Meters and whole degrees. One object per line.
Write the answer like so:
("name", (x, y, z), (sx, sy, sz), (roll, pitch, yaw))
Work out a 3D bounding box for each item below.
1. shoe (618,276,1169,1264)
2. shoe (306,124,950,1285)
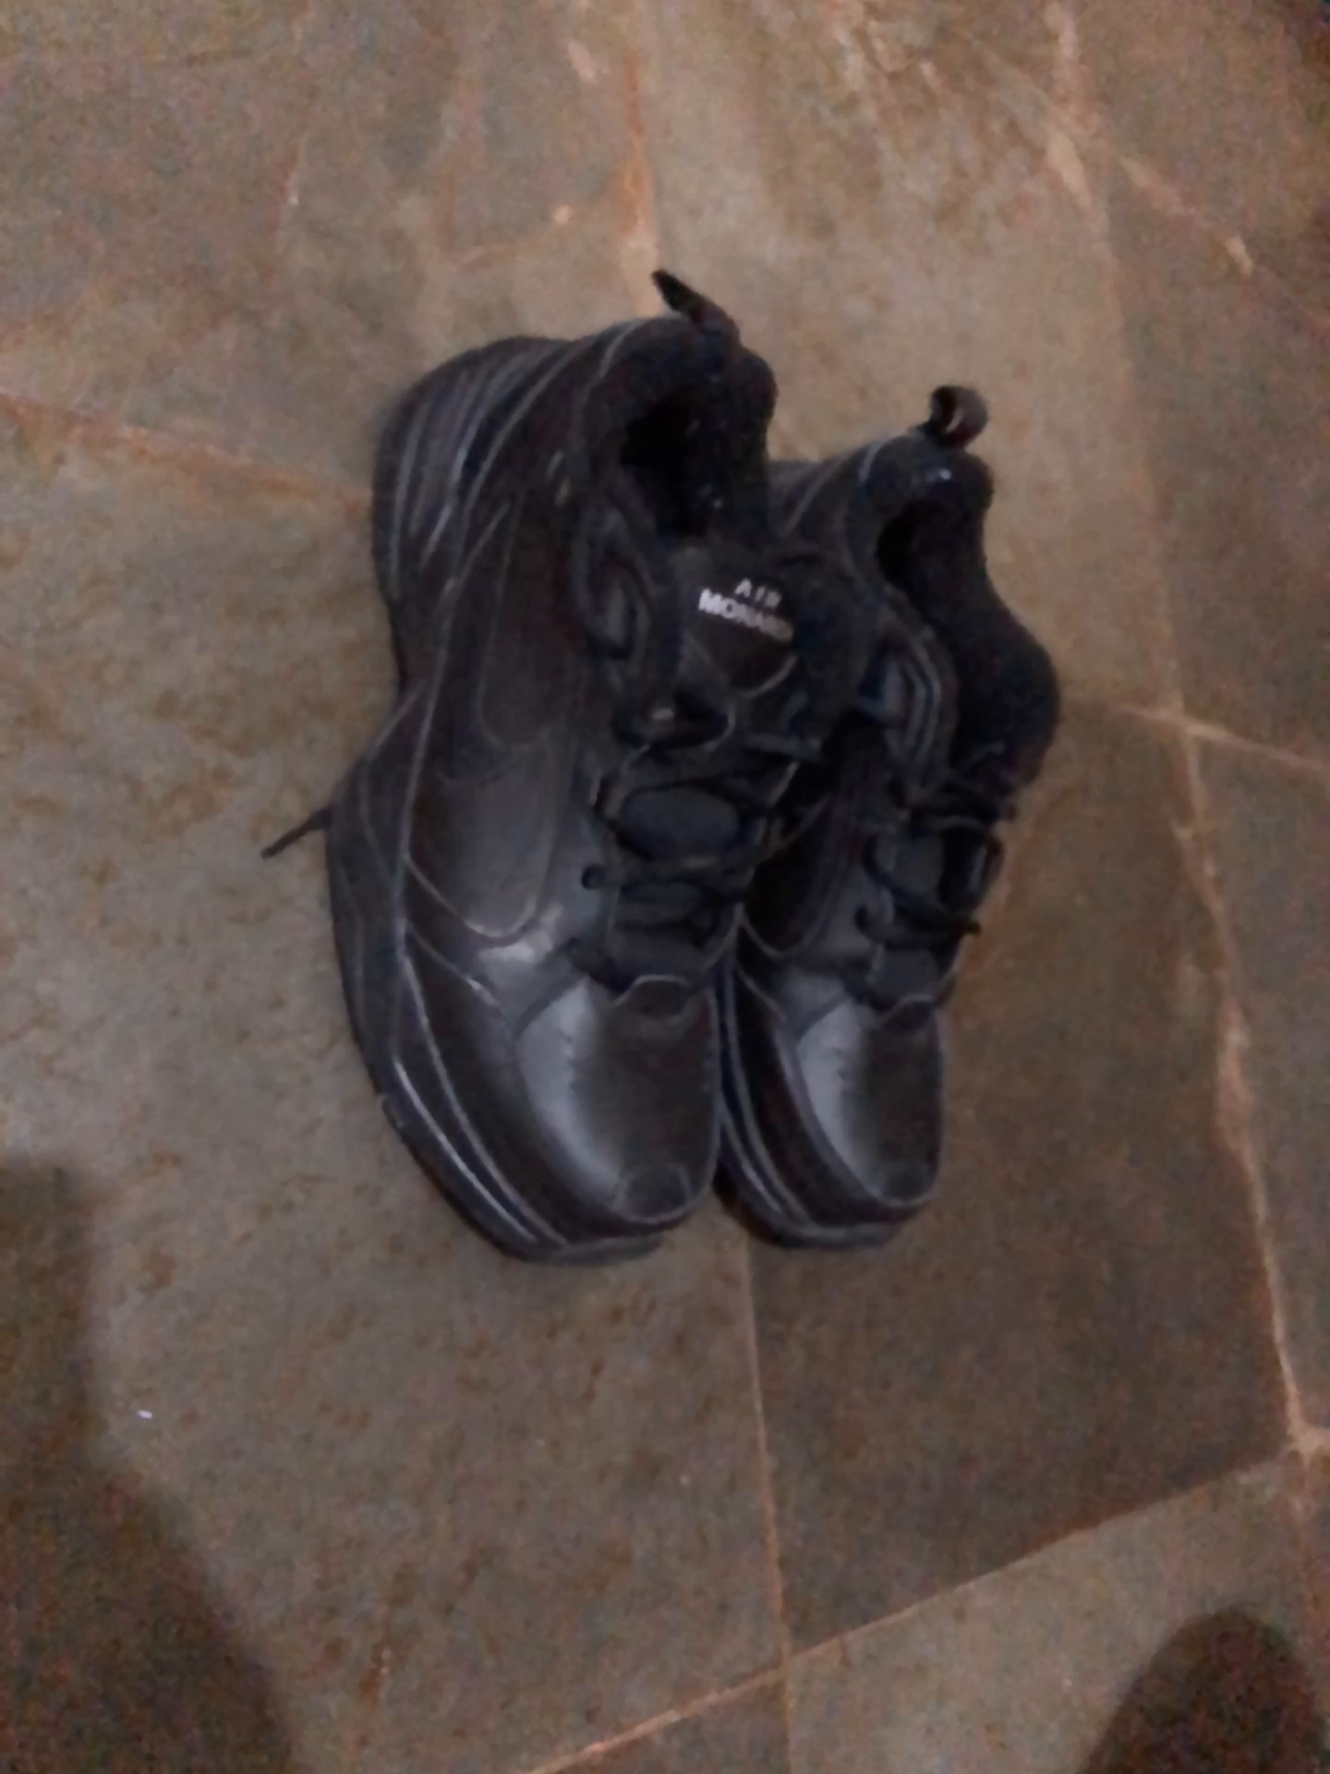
("shoe", (0.074, -0.029, 0.514), (0.121, 0.109, 0.300), (8, 73, -43))
("shoe", (-0.016, -0.038, 0.422), (0.121, 0.109, 0.280), (6, 74, -43))
